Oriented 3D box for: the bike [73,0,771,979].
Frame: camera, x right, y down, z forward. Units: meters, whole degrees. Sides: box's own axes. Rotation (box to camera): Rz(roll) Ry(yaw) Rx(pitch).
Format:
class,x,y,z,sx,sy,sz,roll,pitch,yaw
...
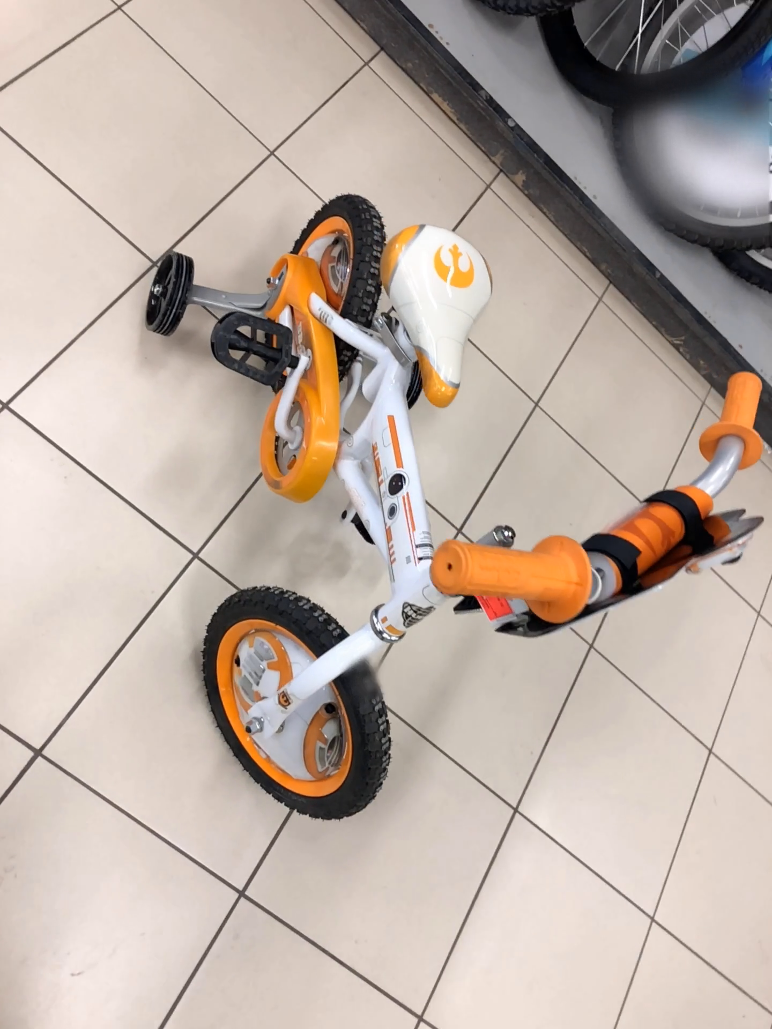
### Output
class,x,y,z,sx,sy,sz,roll,pitch,yaw
bike,-0.018,-0.104,0.906,0.436,0.715,0.815,5,74,-28
